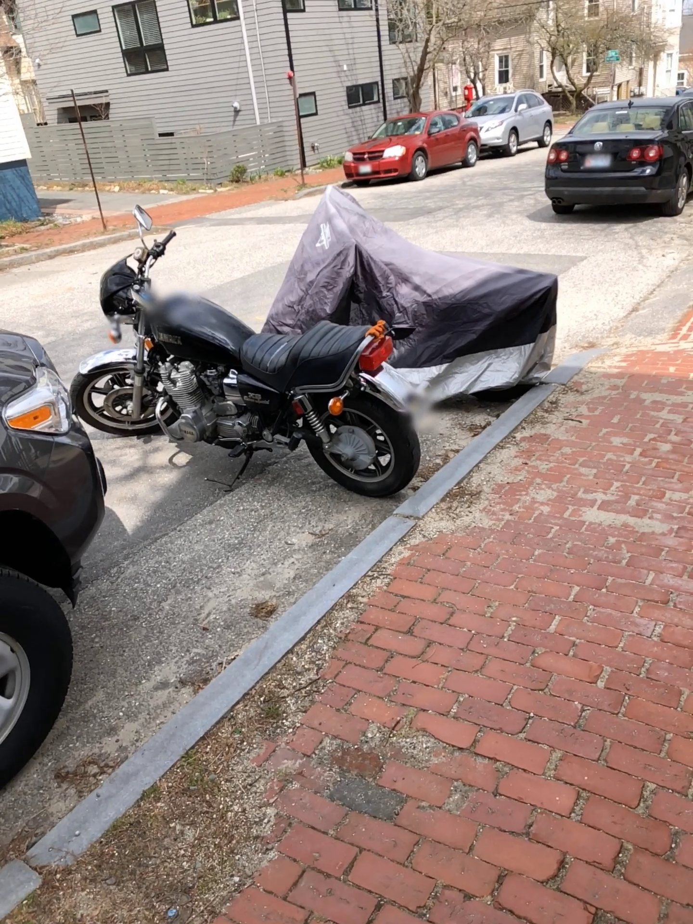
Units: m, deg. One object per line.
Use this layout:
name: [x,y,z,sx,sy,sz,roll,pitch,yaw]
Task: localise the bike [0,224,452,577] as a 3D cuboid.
bike: [-0.713,-0.424,3.919,2.298,1.419,0.690,9,31,29]
